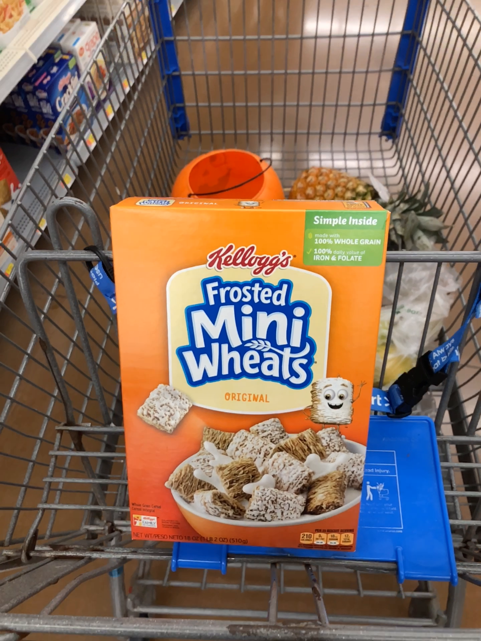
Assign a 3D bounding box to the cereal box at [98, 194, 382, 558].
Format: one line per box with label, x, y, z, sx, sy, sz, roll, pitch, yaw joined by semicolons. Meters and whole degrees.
cereal box;0.001;0.049;0.434;0.190;0.290;0.070;0;18;2
